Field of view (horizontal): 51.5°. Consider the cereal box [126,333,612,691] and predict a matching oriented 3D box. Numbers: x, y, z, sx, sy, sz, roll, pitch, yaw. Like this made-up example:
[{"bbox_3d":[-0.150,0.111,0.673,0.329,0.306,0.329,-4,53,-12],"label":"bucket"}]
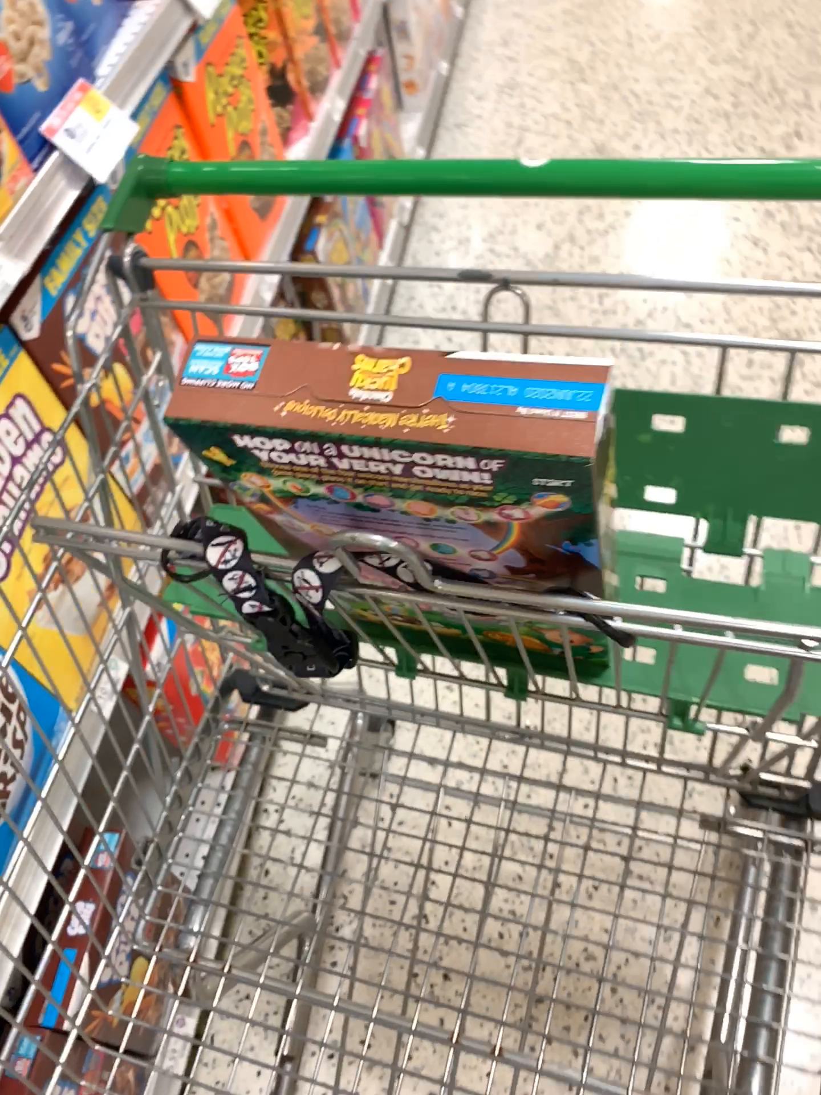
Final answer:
[{"bbox_3d":[0.008,-0.001,0.484,0.200,0.298,0.050,7,67,17],"label":"cereal box"}]
